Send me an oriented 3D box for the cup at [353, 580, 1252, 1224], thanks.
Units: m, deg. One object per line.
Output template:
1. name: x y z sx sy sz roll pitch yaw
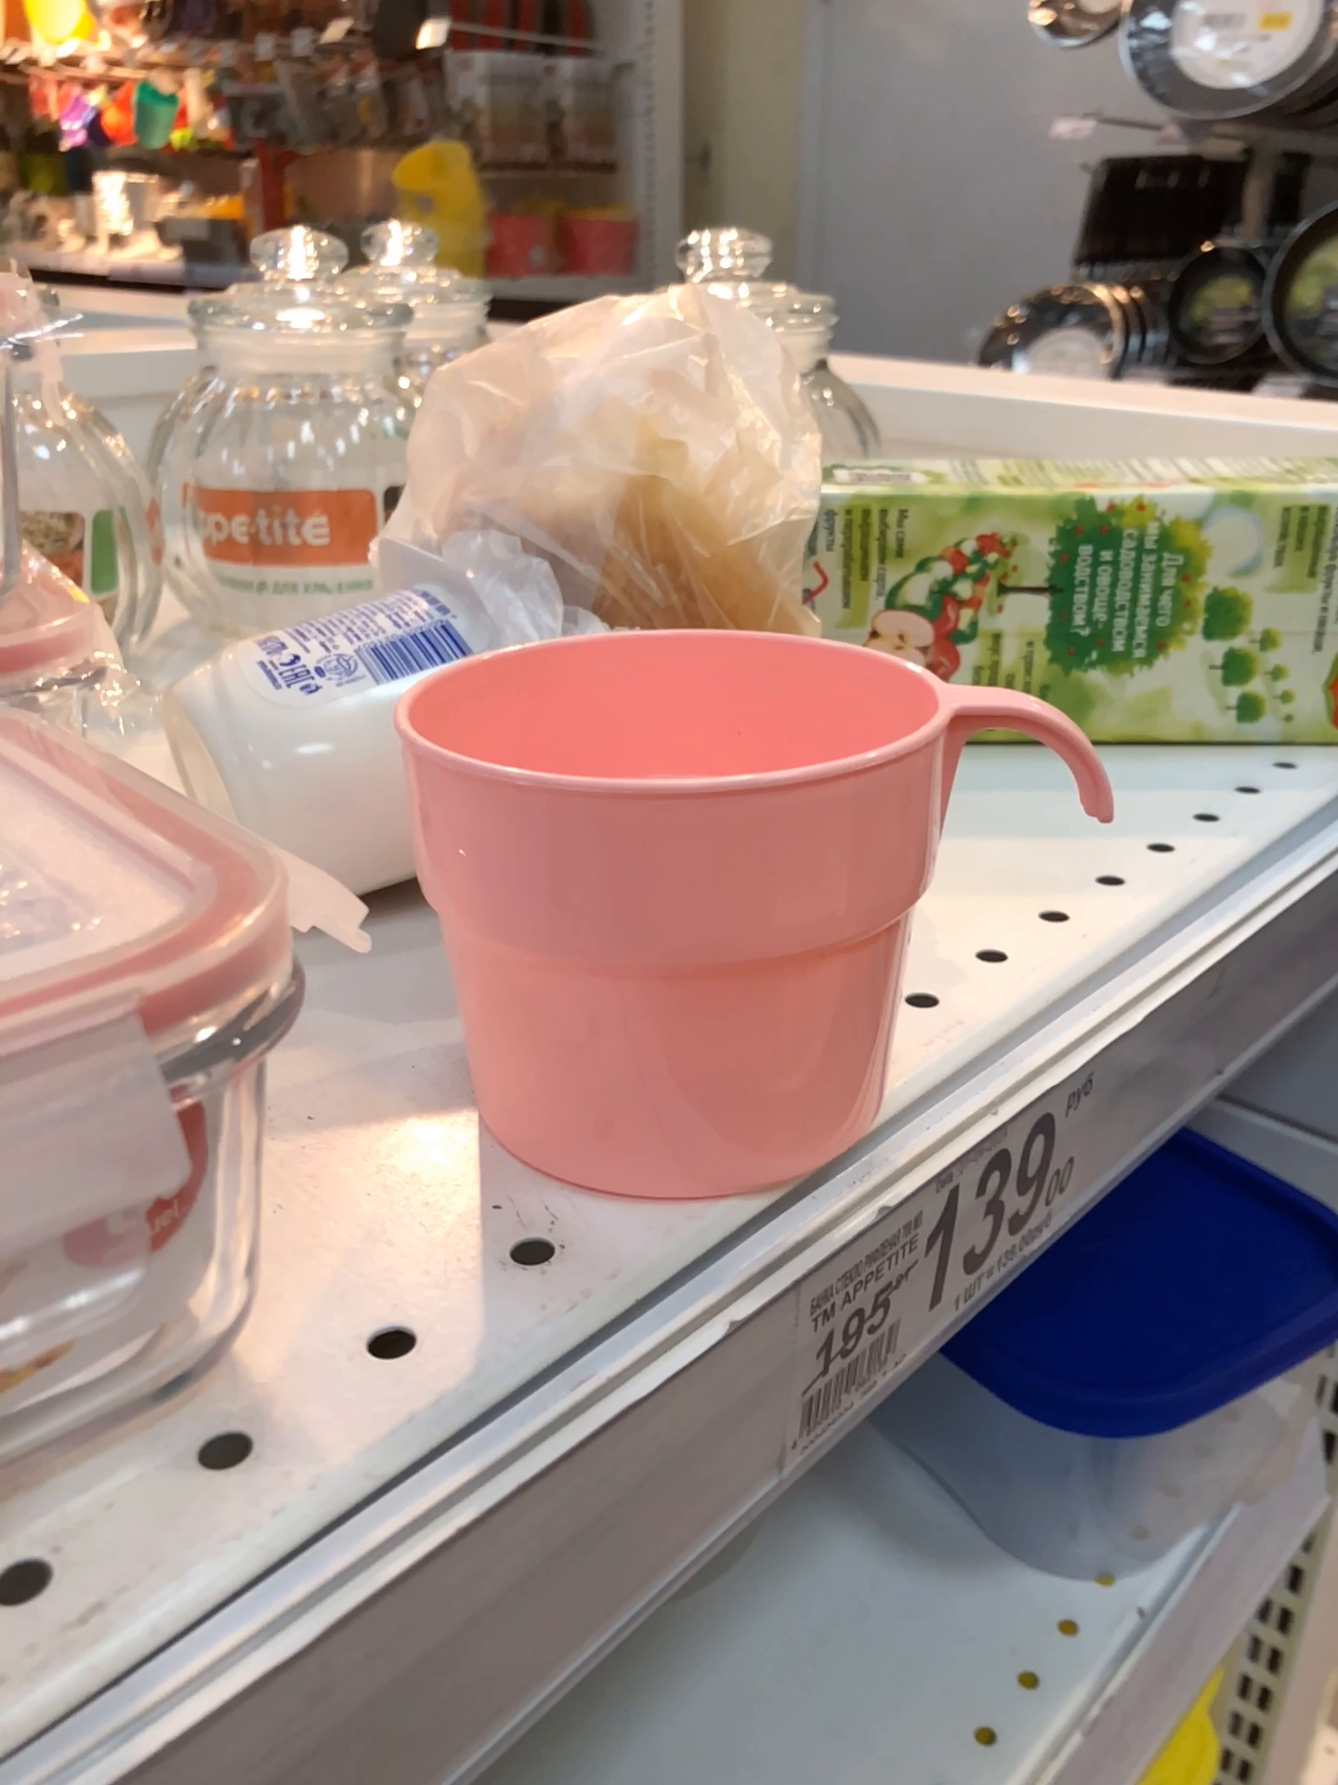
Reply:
1. cup: 0.014 -0.005 0.231 0.110 0.070 0.081 -2 23 -4
